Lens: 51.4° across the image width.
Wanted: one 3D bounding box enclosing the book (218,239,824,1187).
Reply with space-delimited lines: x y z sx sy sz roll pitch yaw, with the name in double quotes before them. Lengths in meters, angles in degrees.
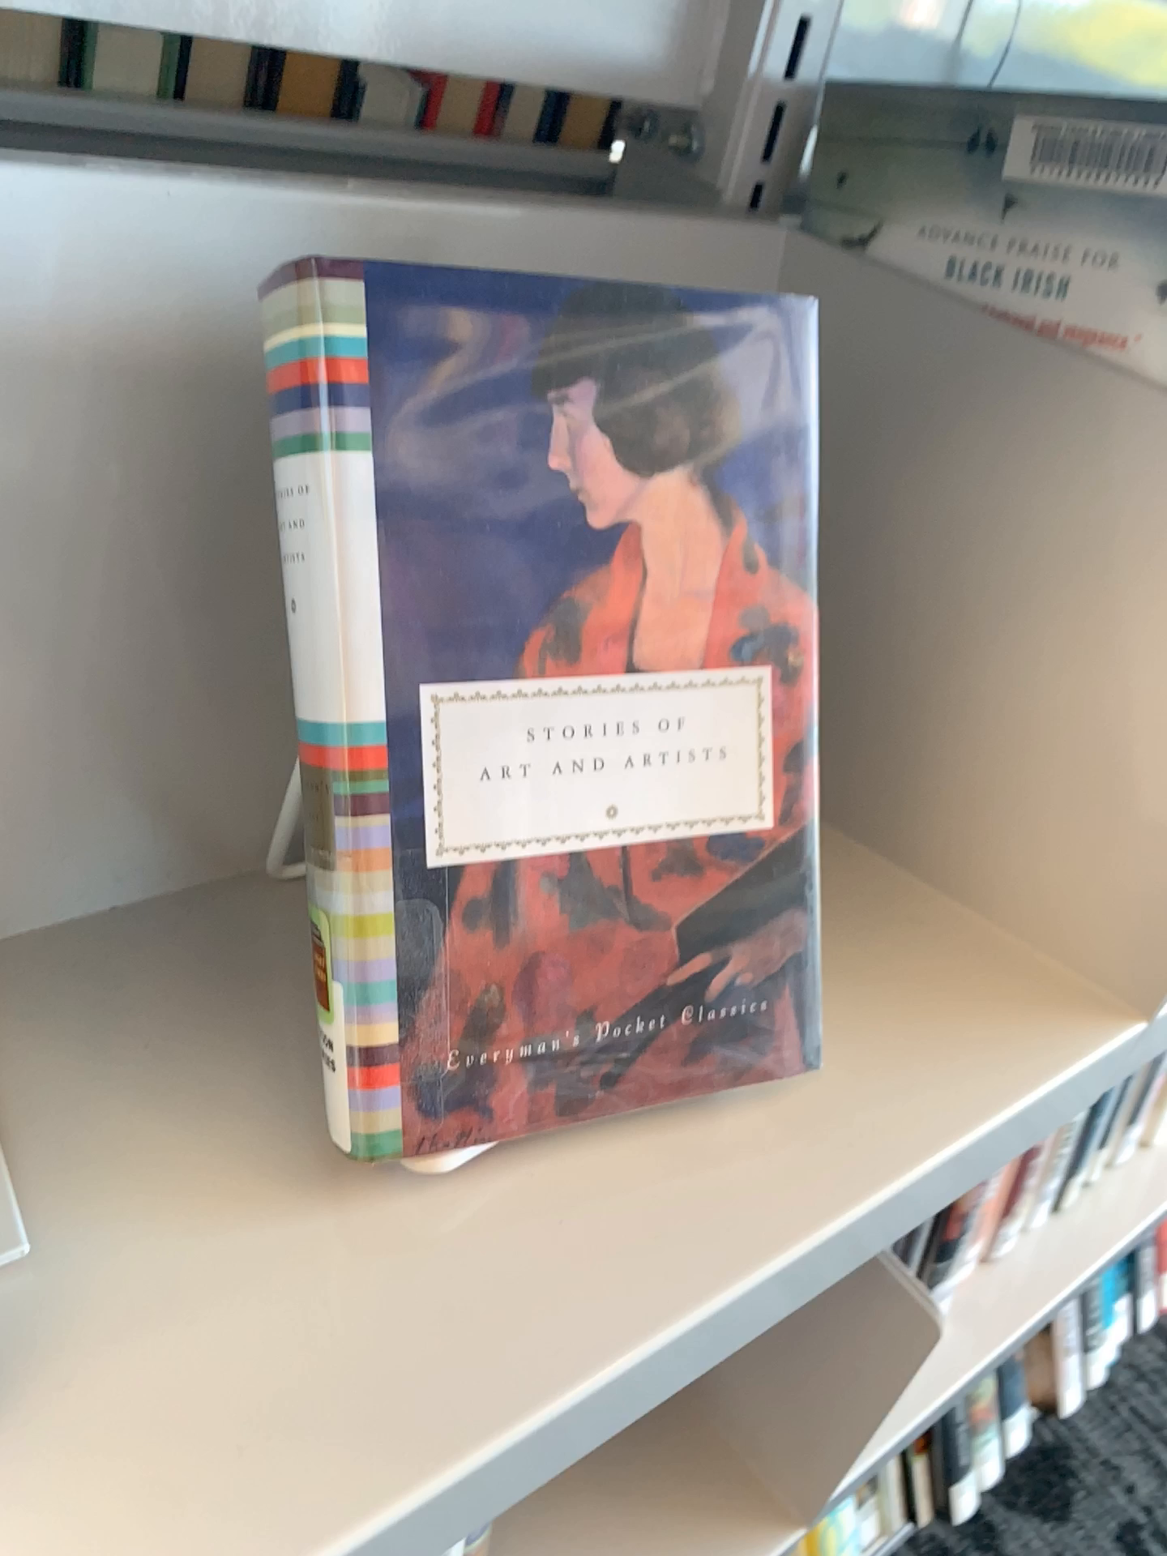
"book" -0.011 -0.015 0.282 0.129 0.187 0.040 -4 9 -23
